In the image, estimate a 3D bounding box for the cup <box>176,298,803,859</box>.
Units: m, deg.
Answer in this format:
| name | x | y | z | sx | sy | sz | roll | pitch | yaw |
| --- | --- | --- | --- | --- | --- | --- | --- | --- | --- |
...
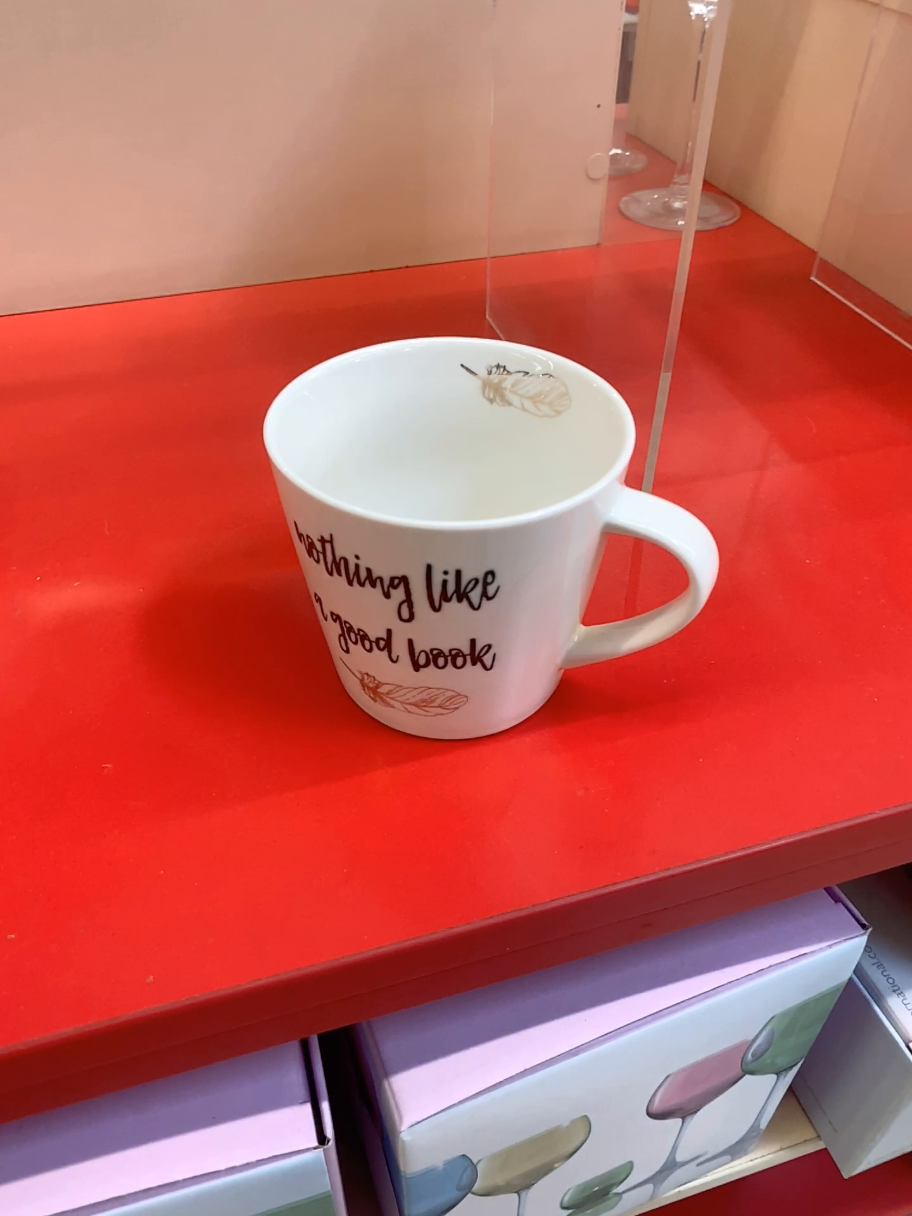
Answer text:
| name | x | y | z | sx | sy | sz | roll | pitch | yaw |
| --- | --- | --- | --- | --- | --- | --- | --- | --- | --- |
| cup | 0.011 | -0.015 | 0.264 | 0.130 | 0.090 | 0.090 | 18 | 44 | 20 |
